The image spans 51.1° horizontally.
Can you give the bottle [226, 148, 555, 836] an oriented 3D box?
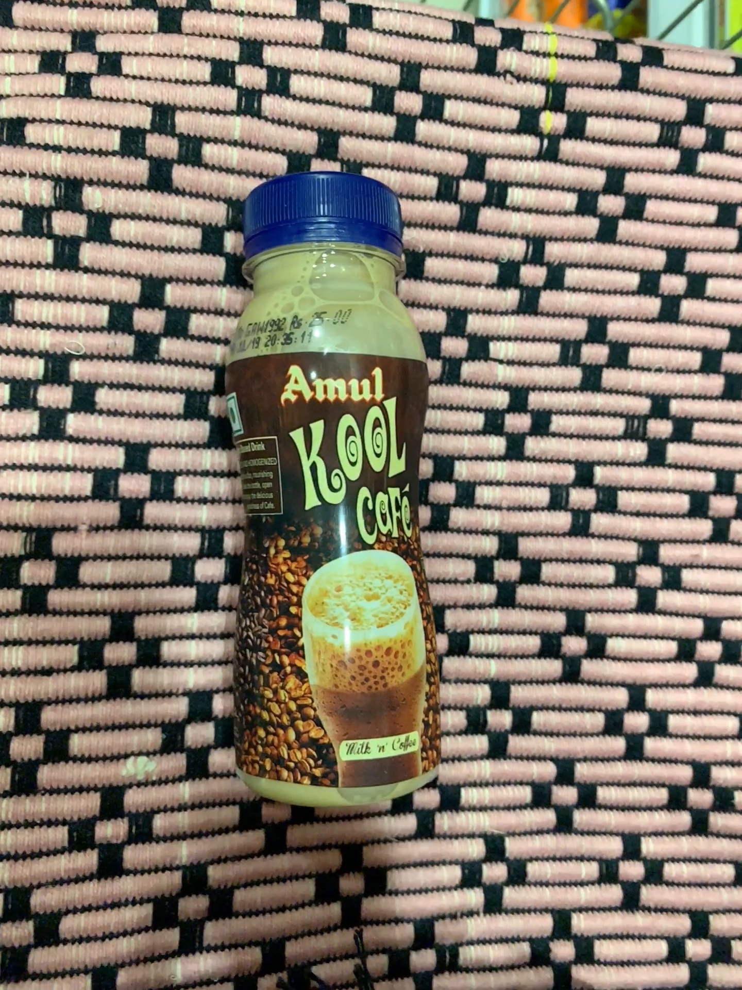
[{"bbox_3d":[0.000,-0.001,0.190,0.060,0.050,0.140,-1,85,-18],"label":"bottle"}]
